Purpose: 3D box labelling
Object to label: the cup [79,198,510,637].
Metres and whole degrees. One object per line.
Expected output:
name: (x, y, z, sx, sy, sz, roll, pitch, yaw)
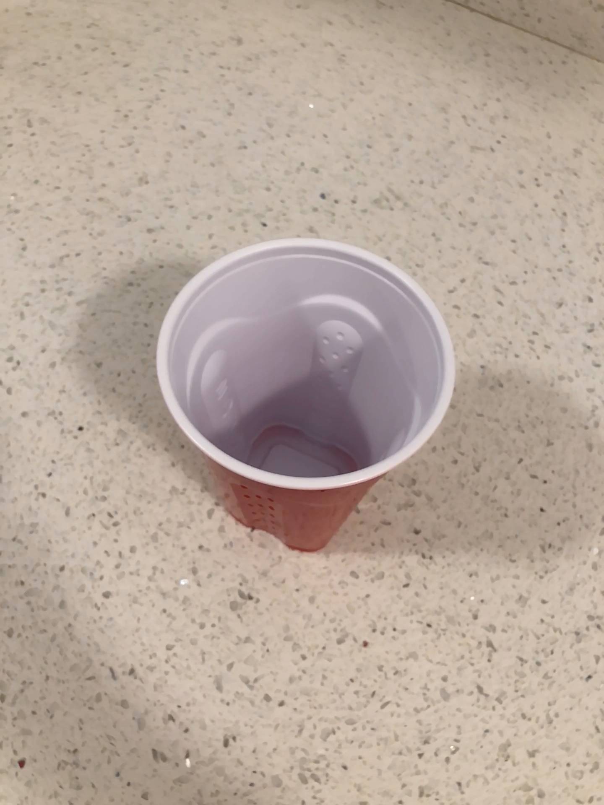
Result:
cup: (0.000, 0.008, 0.254, 0.101, 0.093, 0.102, 1, 60, -2)
